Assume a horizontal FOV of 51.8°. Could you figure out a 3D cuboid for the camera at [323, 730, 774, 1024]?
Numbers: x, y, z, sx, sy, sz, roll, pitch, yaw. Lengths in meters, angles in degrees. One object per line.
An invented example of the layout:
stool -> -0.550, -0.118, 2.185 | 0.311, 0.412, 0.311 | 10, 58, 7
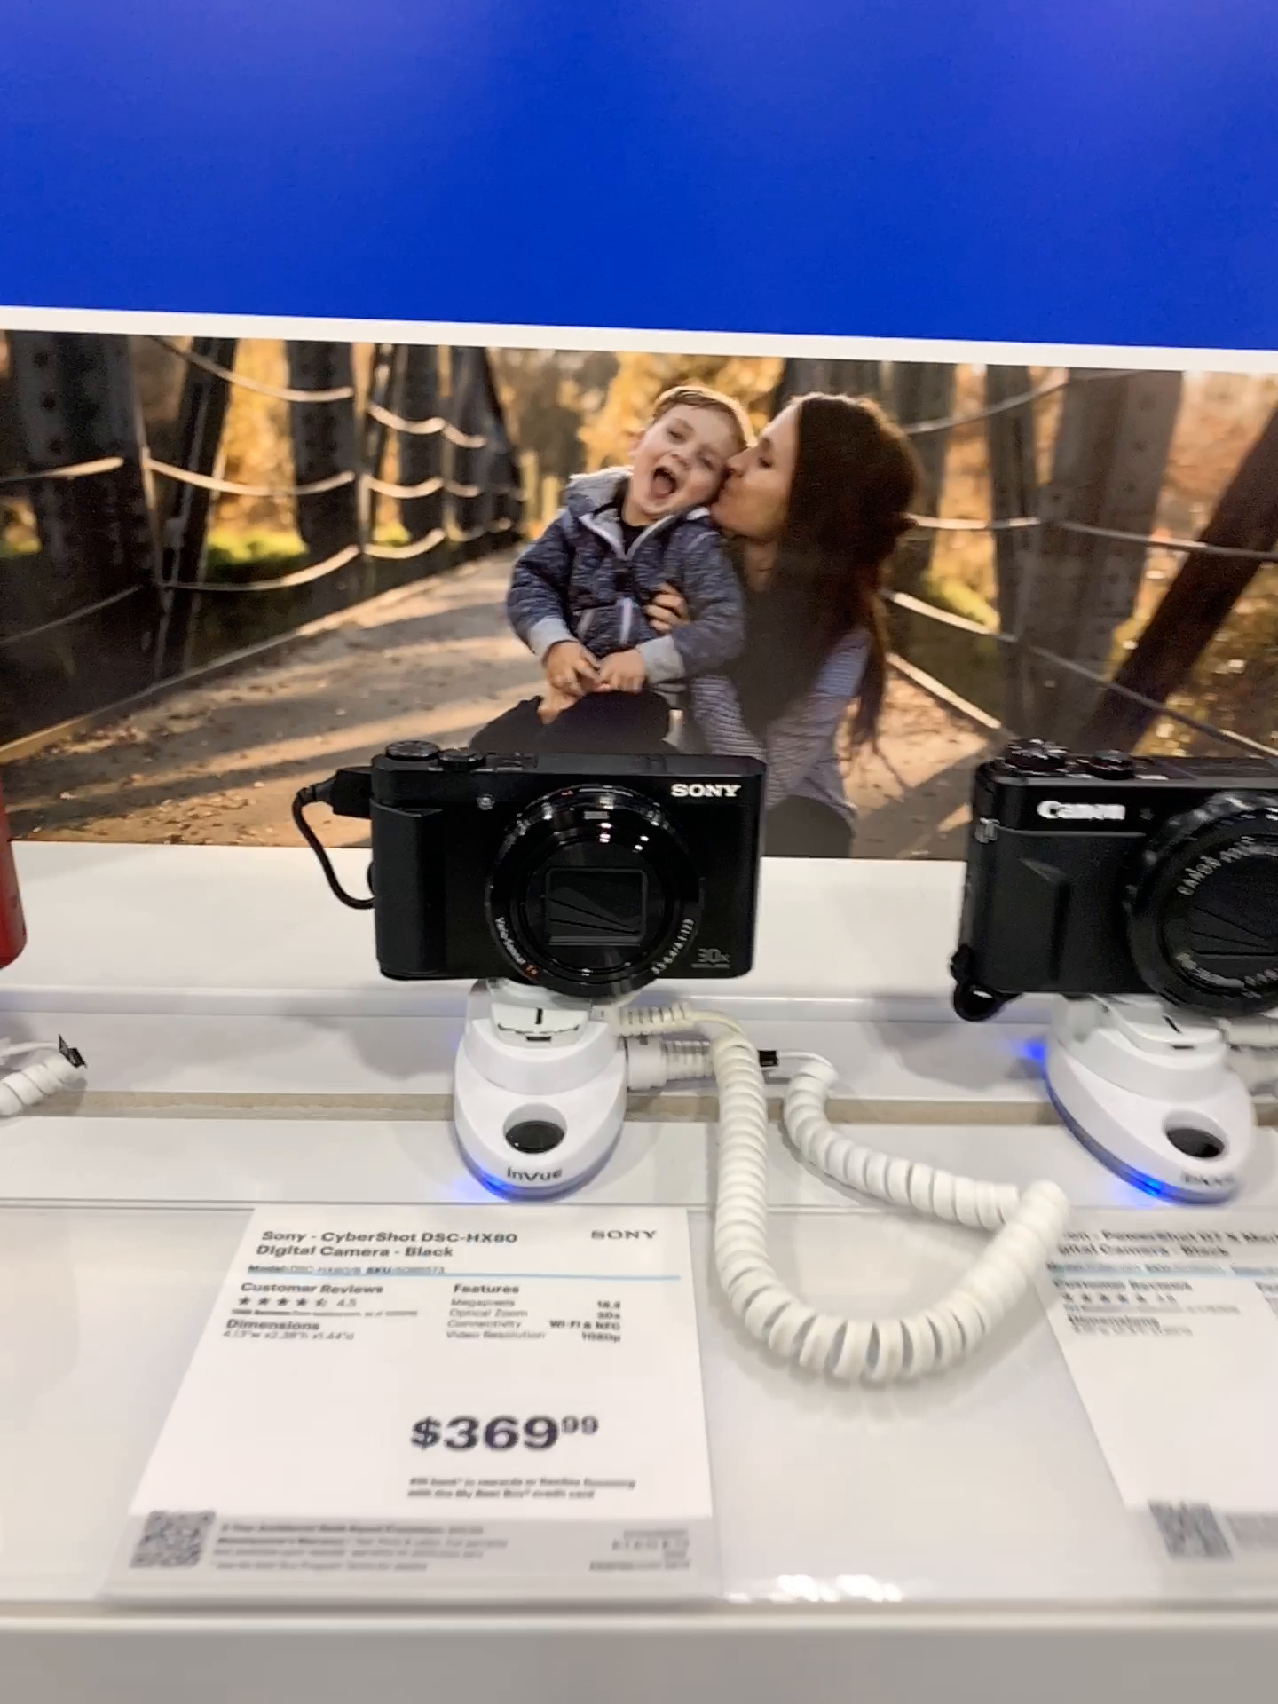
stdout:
camera -> -0.023, 0.007, 0.348 | 0.110, 0.070, 0.030 | 1, 21, -1
